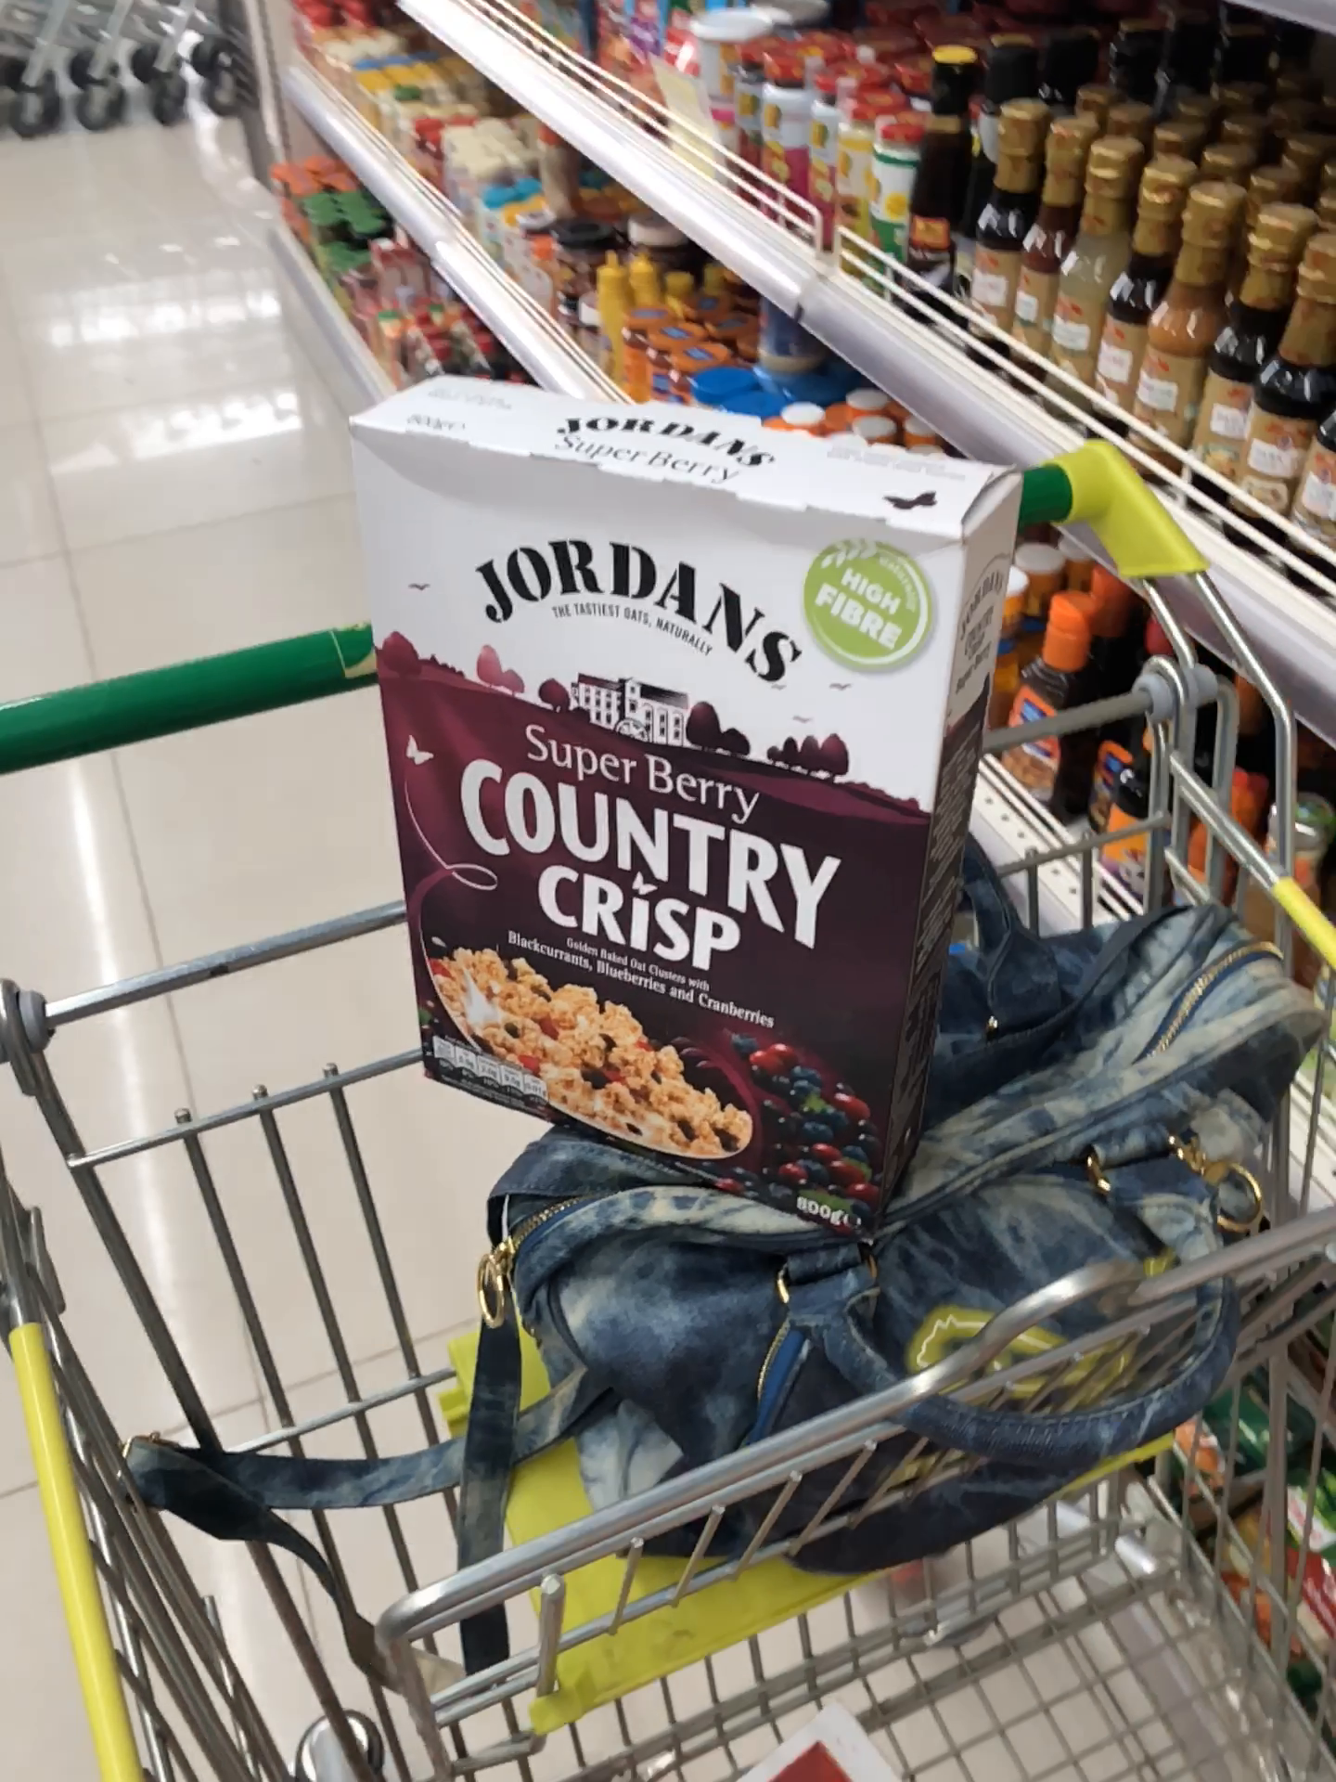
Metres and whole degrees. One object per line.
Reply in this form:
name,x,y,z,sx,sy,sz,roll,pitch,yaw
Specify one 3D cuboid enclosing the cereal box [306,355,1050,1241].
cereal box,-0.003,-0.021,0.436,0.180,0.229,0.050,16,38,18
